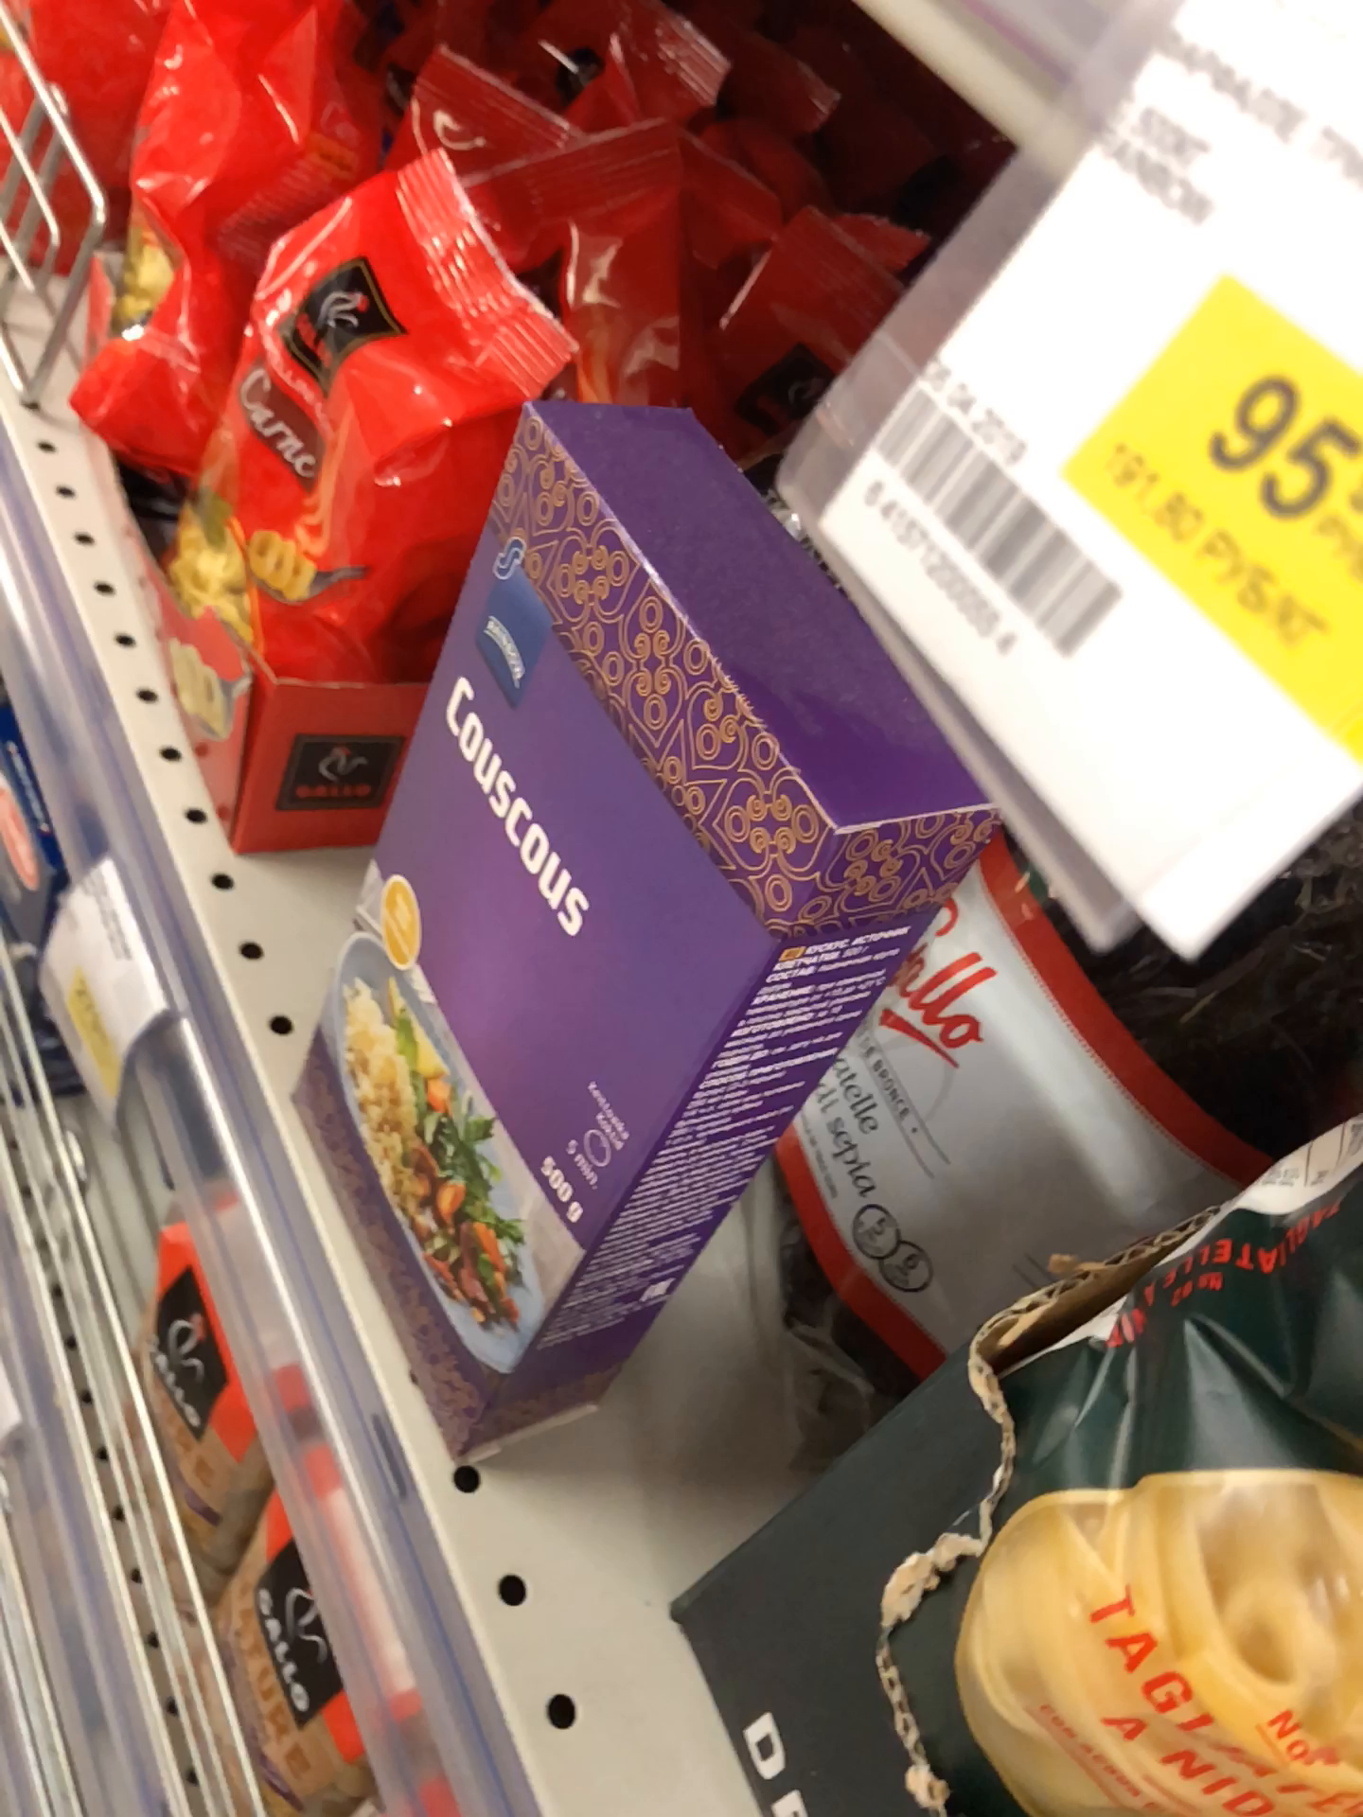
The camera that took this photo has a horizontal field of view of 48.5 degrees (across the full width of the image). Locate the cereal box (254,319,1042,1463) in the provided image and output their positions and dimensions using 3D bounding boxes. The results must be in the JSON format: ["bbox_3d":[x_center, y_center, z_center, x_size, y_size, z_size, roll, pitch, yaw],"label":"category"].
[{"bbox_3d":[-0.027,0.009,0.294,0.040,0.199,0.110,-9,54,-36],"label":"cereal box"}]
